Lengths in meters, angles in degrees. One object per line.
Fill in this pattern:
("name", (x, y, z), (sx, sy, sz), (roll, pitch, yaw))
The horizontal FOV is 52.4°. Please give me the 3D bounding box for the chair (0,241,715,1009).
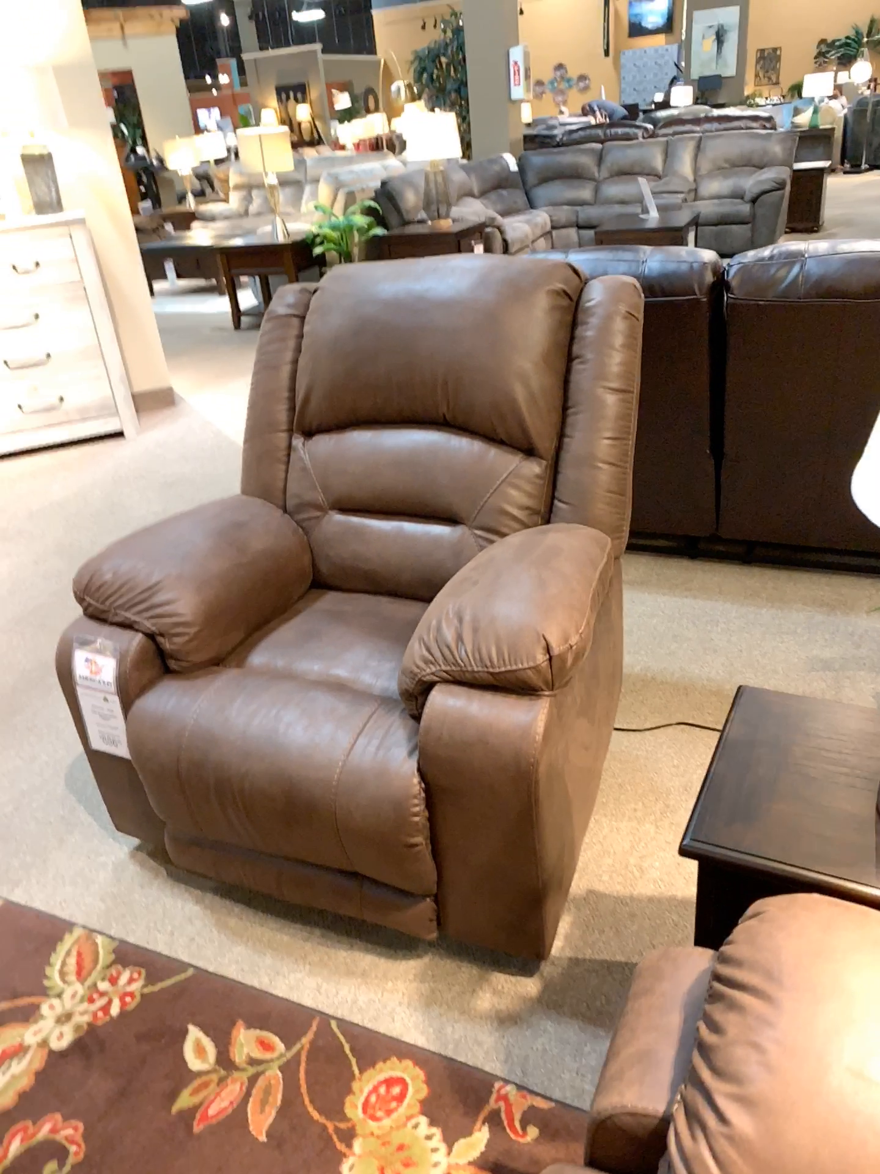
("chair", (-0.074, -0.074, 1.858), (1.001, 1.027, 1.069), (8, 31, 26))
